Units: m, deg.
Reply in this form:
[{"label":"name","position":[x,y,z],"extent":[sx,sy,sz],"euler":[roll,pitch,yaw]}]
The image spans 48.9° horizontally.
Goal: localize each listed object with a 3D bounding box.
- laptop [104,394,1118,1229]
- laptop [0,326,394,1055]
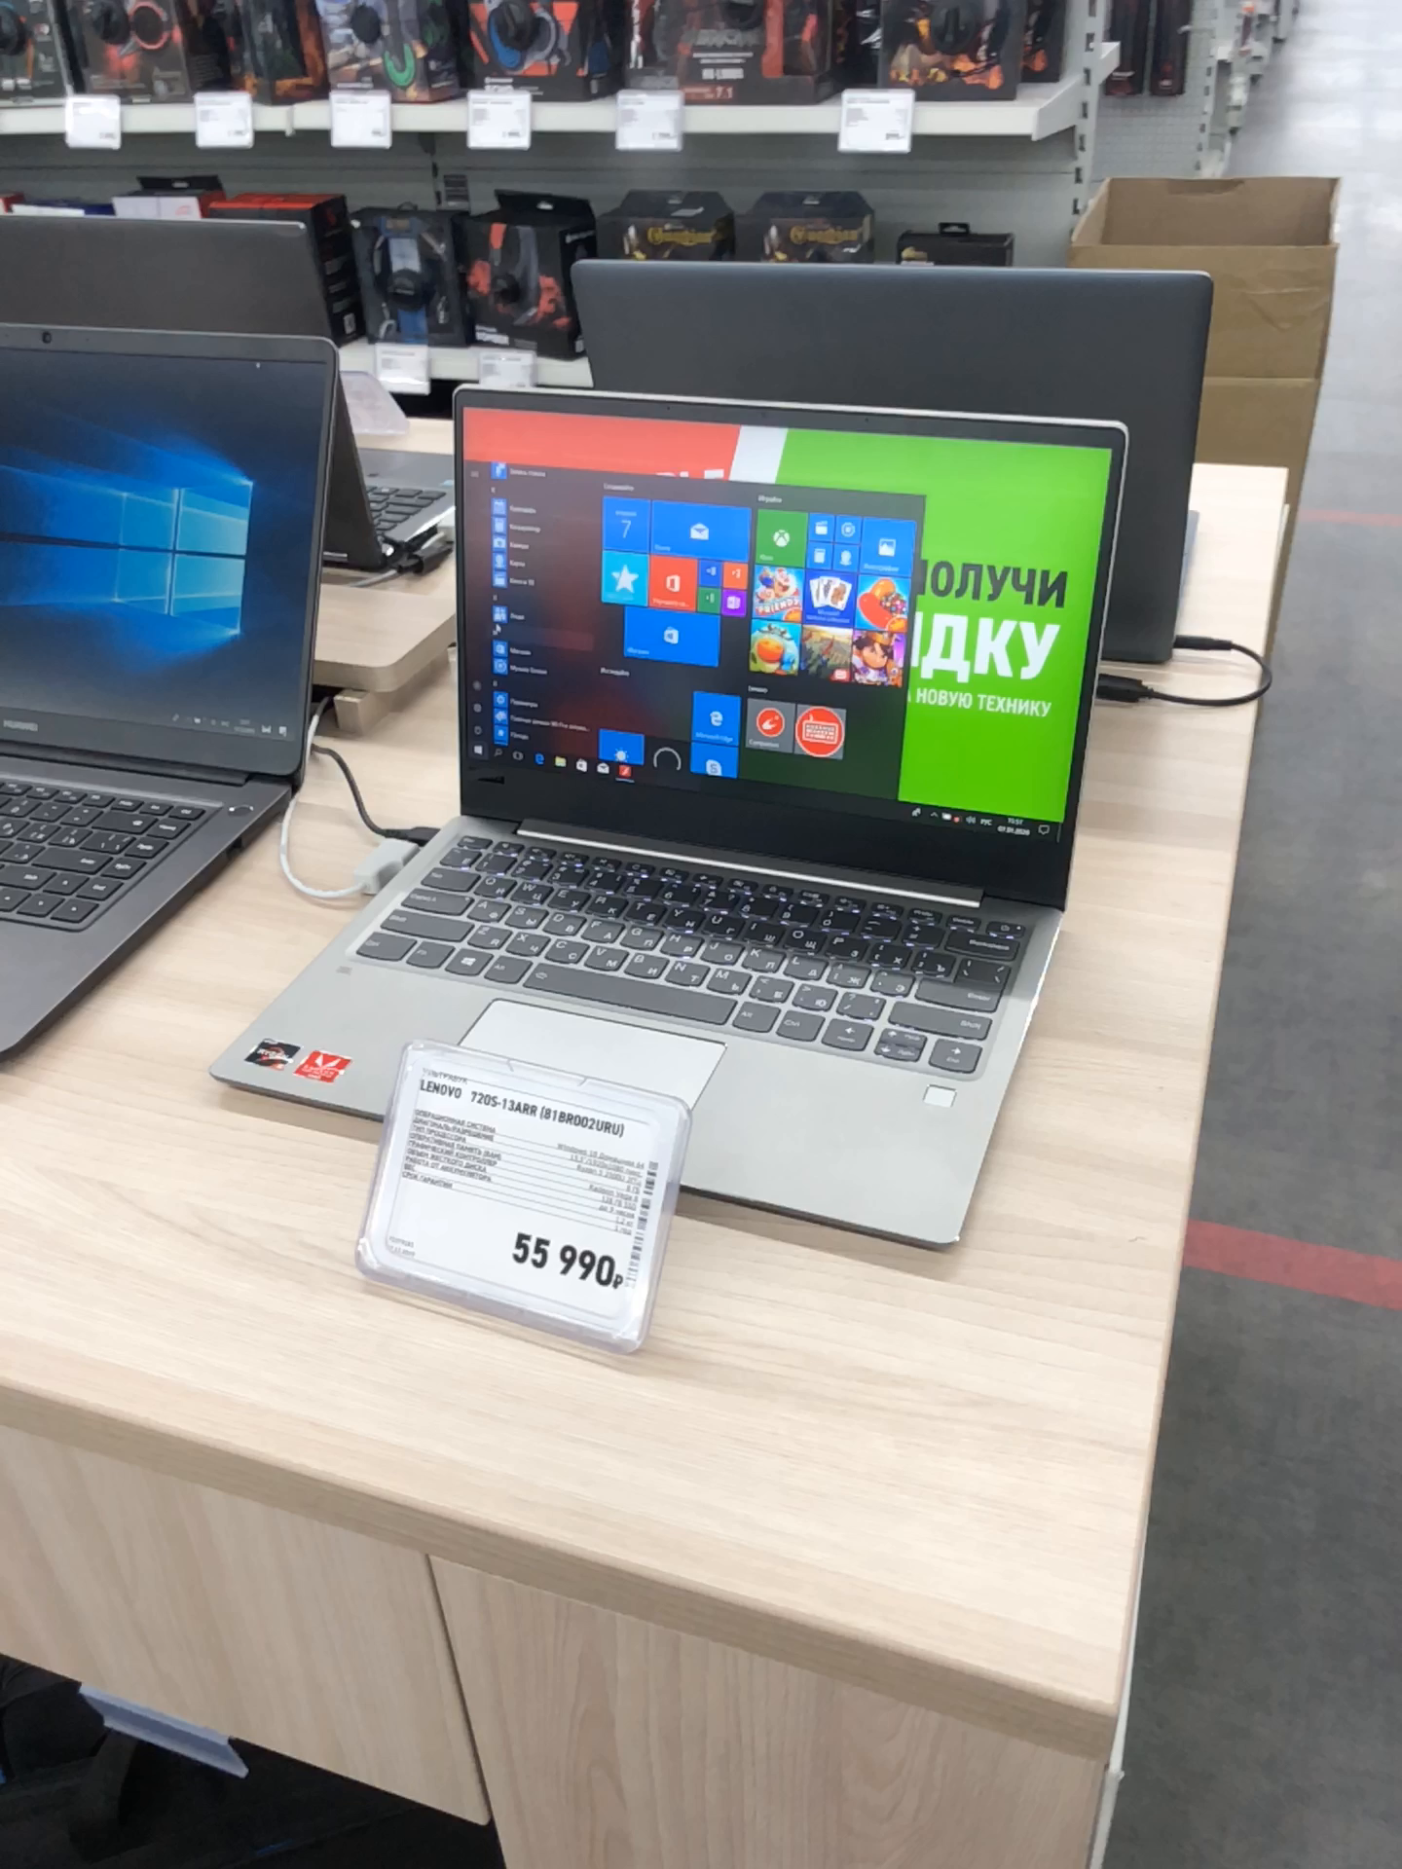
[{"label":"laptop","position":[-0.010,-0.073,0.609],"extent":[0.285,0.187,0.263],"euler":[10,37,19]},{"label":"laptop","position":[-0.398,-0.149,0.750],"extent":[0.344,0.188,0.341],"euler":[8,37,17]}]
